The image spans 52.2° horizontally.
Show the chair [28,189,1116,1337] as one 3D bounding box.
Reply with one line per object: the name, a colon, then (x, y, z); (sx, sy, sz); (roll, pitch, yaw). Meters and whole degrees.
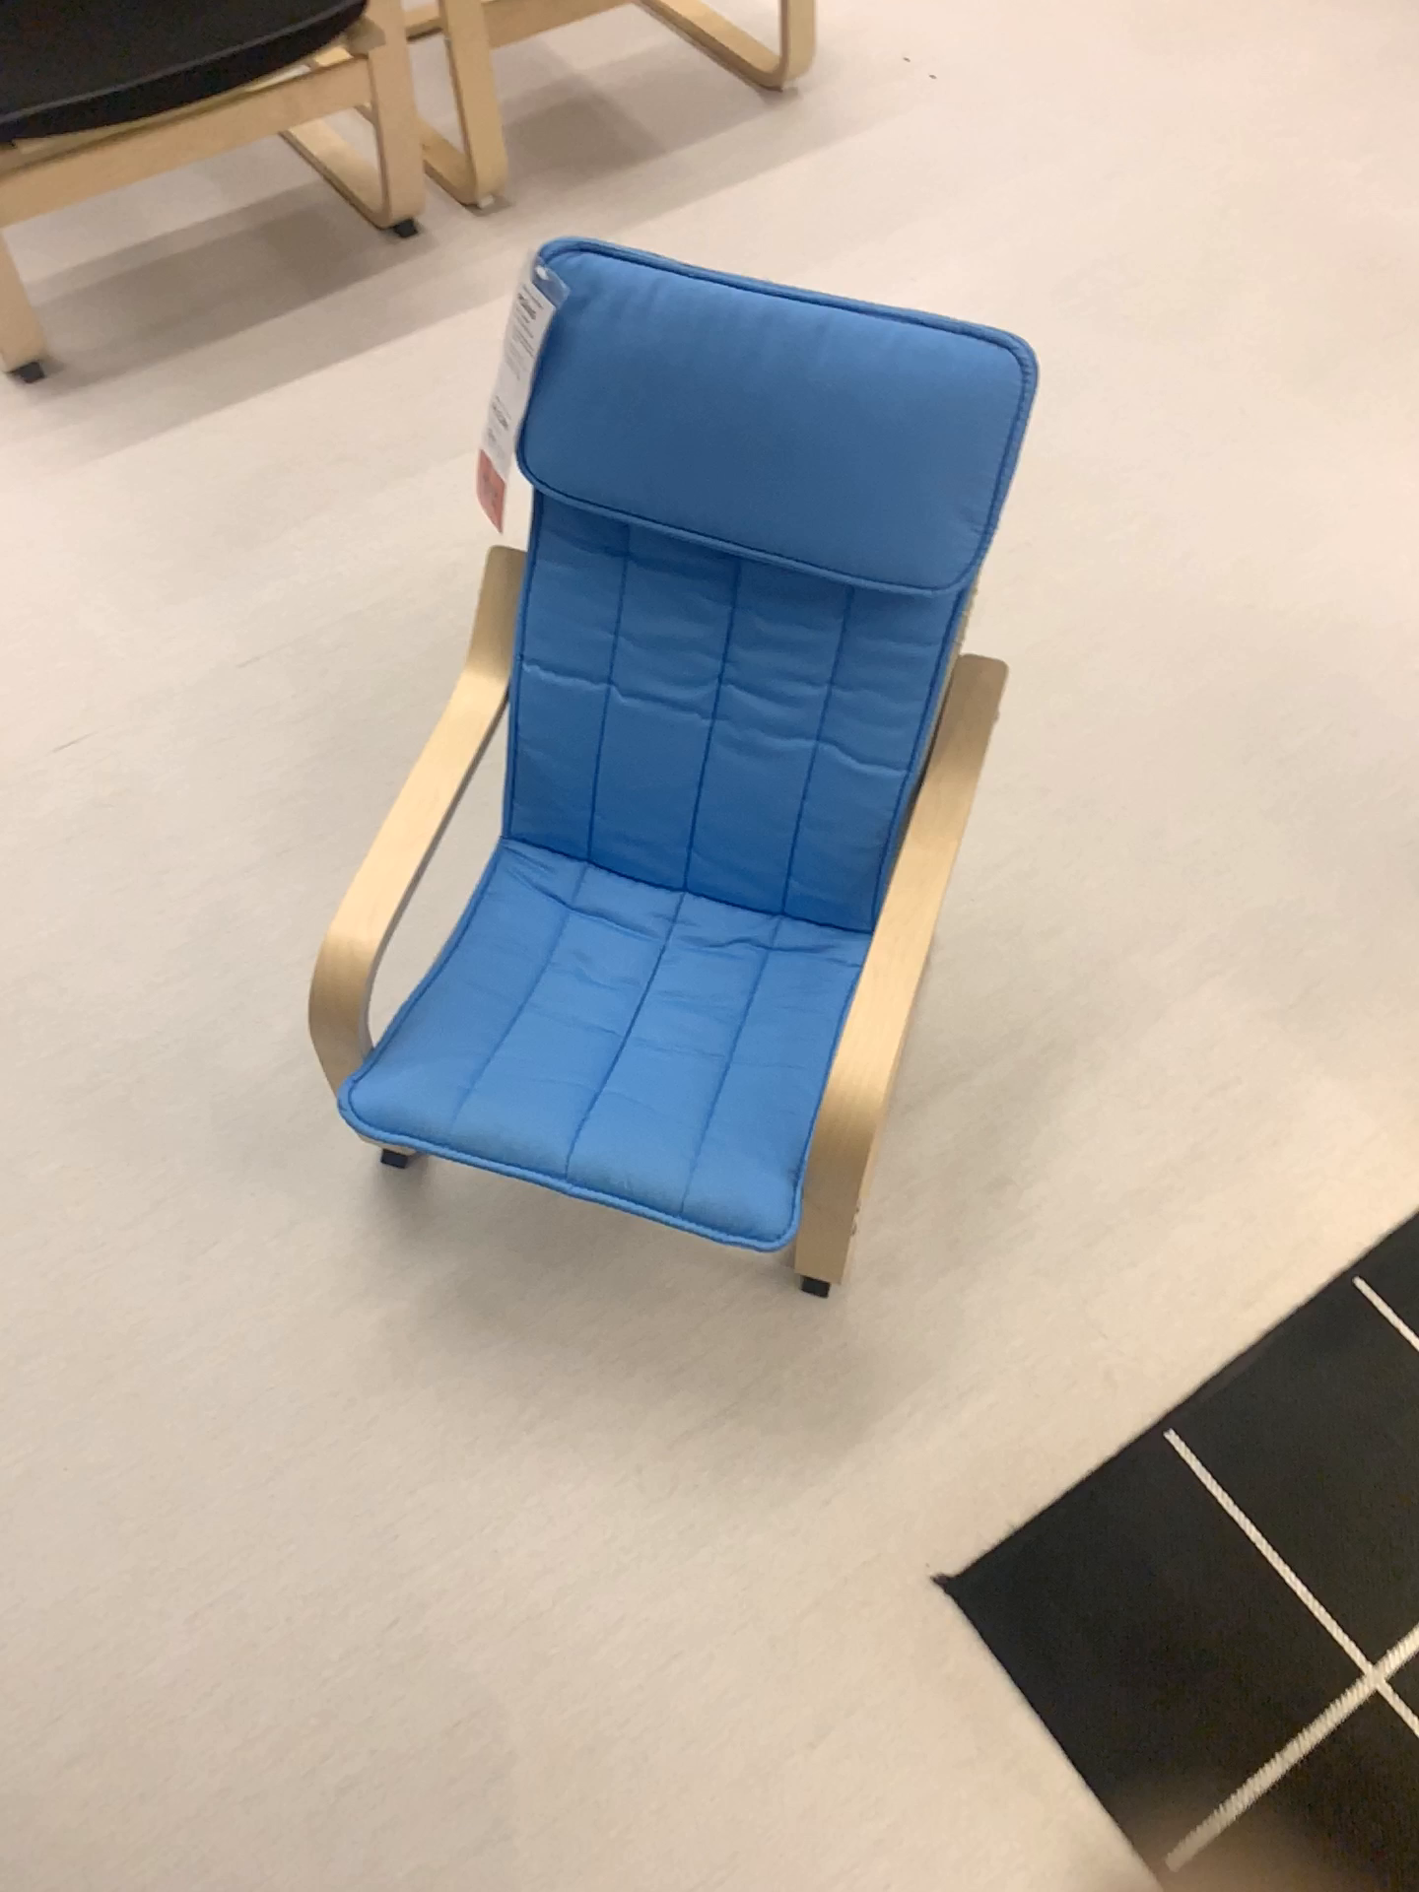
chair: (-0.052, -0.106, 1.139); (0.510, 0.639, 0.501); (15, 58, 9)
